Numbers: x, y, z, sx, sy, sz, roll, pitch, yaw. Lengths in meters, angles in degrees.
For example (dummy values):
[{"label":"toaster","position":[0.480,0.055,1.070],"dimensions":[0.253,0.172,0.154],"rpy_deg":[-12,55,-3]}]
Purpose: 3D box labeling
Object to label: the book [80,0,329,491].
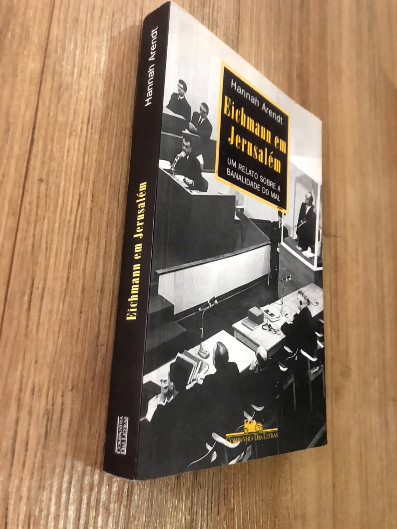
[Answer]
[{"label":"book","position":[0.019,-0.008,0.228],"dimensions":[0.141,0.030,0.200],"rpy_deg":[16,72,-46]}]
